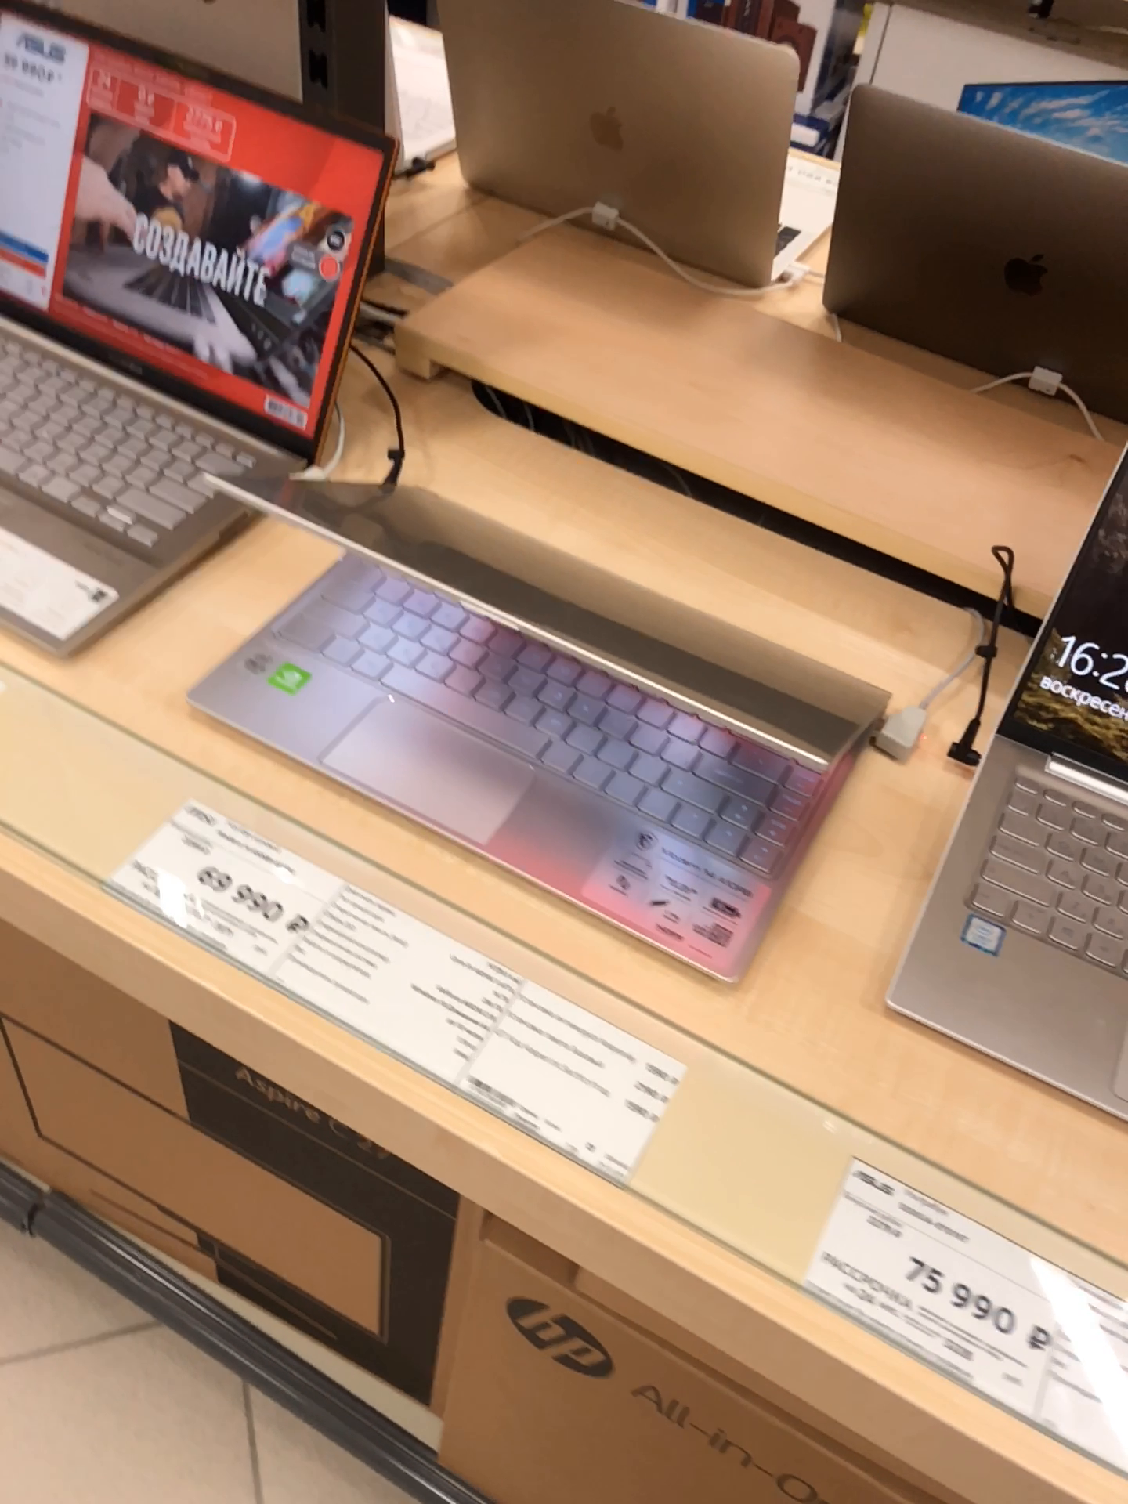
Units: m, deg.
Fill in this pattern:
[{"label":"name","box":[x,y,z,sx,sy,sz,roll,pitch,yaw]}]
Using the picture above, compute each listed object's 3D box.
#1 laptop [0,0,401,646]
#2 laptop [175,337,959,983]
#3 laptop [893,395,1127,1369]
[{"label":"laptop","box":[-0.315,-0.282,0.742,0.310,0.169,0.315,26,51,15]},{"label":"laptop","box":[0.002,-0.066,0.646,0.321,0.113,0.216,26,50,15]},{"label":"laptop","box":[0.377,0.031,0.577,0.325,0.154,0.301,24,52,15]}]
